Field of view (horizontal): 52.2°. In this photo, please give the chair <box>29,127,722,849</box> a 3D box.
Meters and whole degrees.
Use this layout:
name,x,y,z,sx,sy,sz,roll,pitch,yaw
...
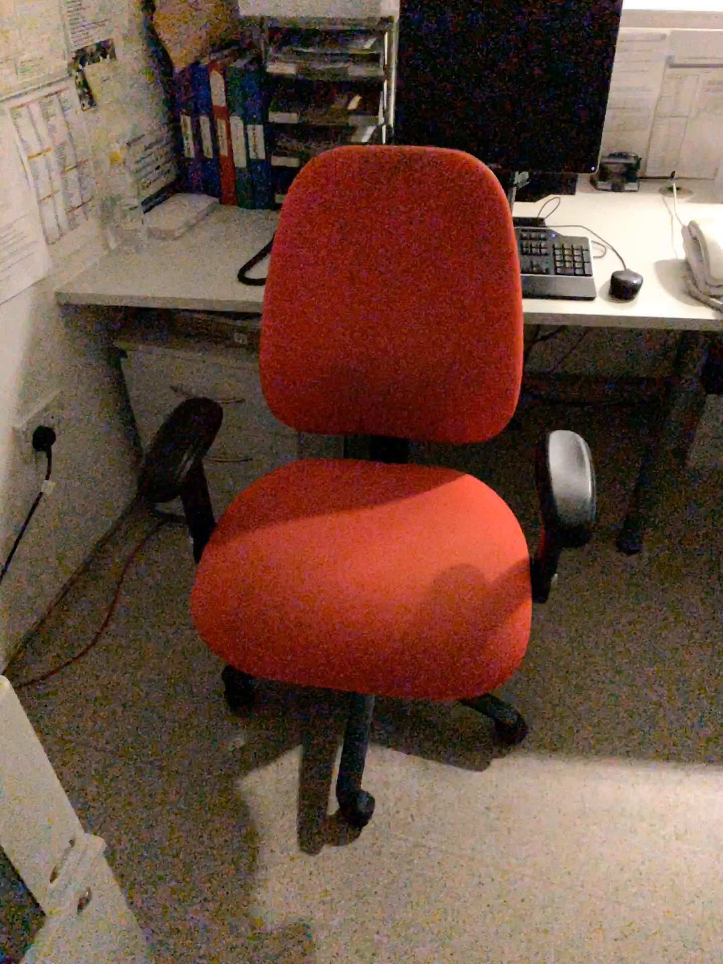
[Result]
name,x,y,z,sx,sy,sz,roll,pitch,yaw
chair,0.059,0.022,1.176,0.670,0.921,0.656,2,39,2
